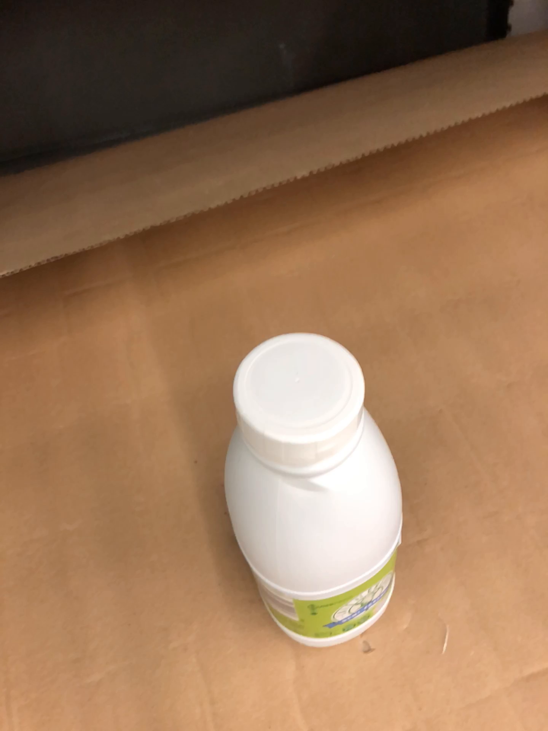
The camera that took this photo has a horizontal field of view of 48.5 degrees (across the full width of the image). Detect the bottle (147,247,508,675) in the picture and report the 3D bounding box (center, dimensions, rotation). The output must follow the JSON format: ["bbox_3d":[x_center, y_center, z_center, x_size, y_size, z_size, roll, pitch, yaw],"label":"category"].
[{"bbox_3d":[0.029,0.071,0.311,0.100,0.239,0.080,-28,56,-12],"label":"bottle"}]
